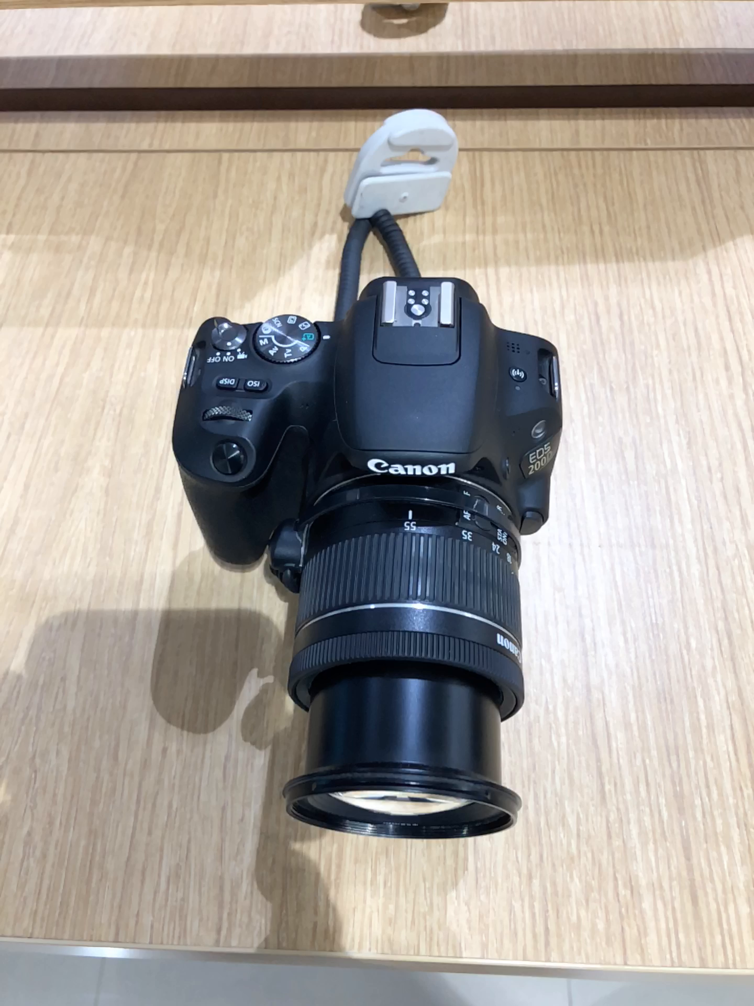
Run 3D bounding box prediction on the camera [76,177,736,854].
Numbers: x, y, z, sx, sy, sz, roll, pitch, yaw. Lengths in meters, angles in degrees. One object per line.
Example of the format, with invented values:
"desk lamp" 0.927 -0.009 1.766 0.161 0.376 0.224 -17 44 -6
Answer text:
"camera" 0.009 0.003 0.237 0.120 0.100 0.161 1 58 3
